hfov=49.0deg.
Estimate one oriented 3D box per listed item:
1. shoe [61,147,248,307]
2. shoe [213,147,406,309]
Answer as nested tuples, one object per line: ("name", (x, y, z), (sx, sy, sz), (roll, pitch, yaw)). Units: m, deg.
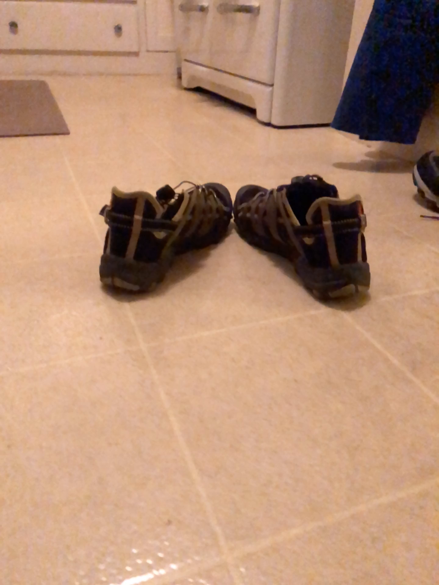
("shoe", (-0.067, -0.105, 0.644), (0.100, 0.109, 0.280), (16, 32, 22))
("shoe", (0.099, -0.106, 0.659), (0.109, 0.111, 0.287), (-11, 32, -22))
